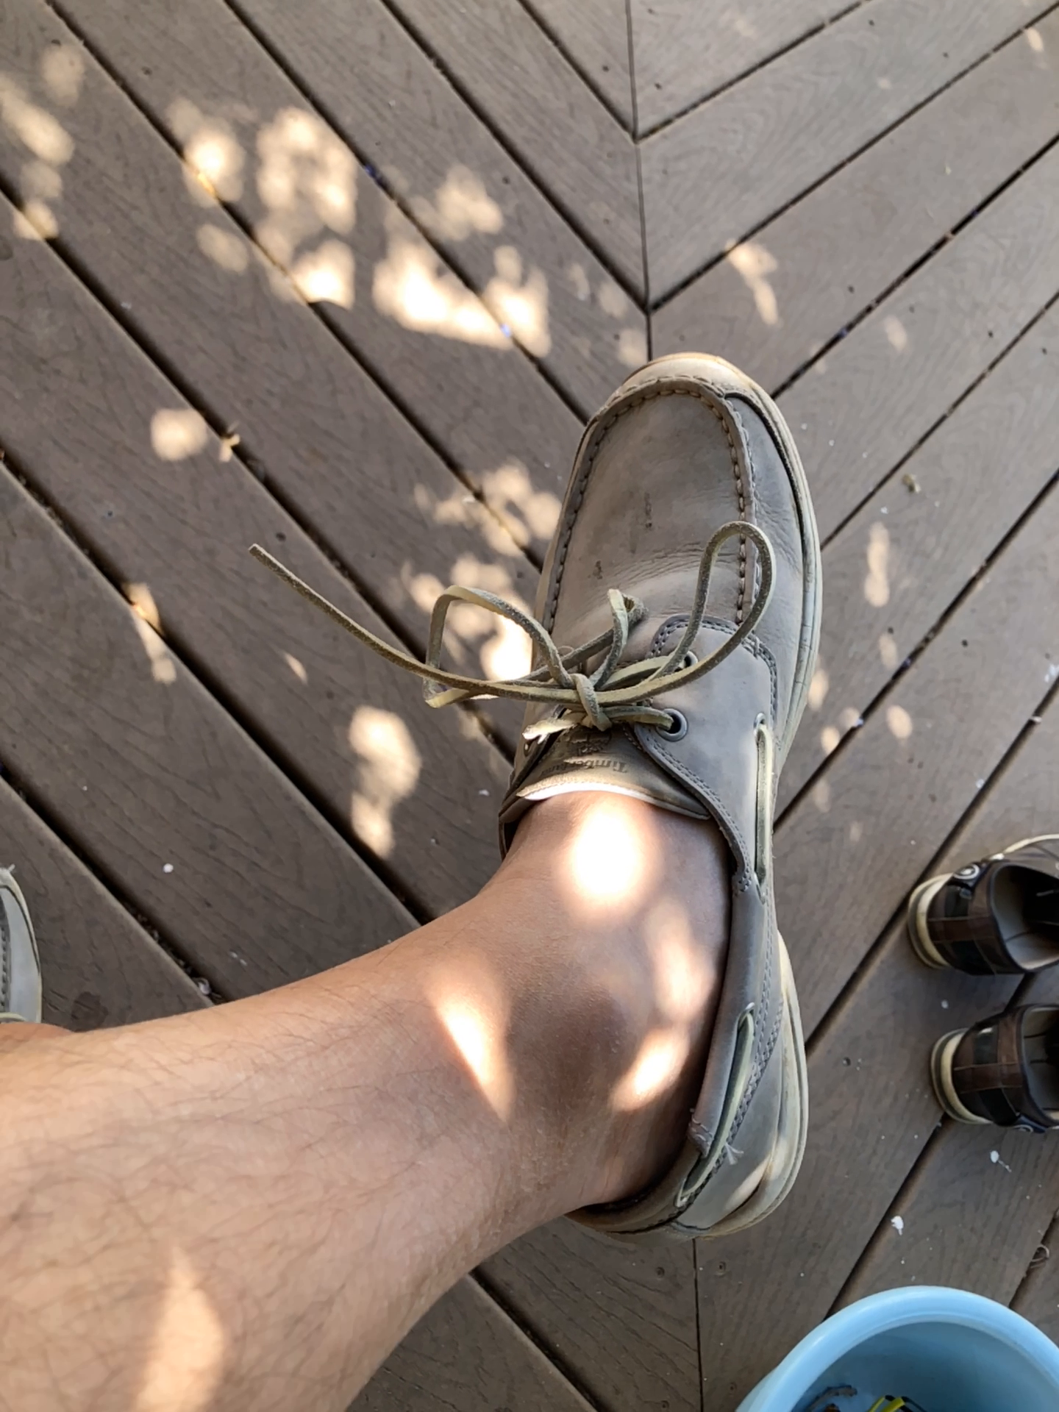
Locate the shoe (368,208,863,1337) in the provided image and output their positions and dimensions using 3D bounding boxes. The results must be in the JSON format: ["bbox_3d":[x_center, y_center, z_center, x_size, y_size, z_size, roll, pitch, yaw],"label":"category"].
[{"bbox_3d":[0.037,0.015,0.377,0.106,0.113,0.303,33,57,-62],"label":"shoe"}]
